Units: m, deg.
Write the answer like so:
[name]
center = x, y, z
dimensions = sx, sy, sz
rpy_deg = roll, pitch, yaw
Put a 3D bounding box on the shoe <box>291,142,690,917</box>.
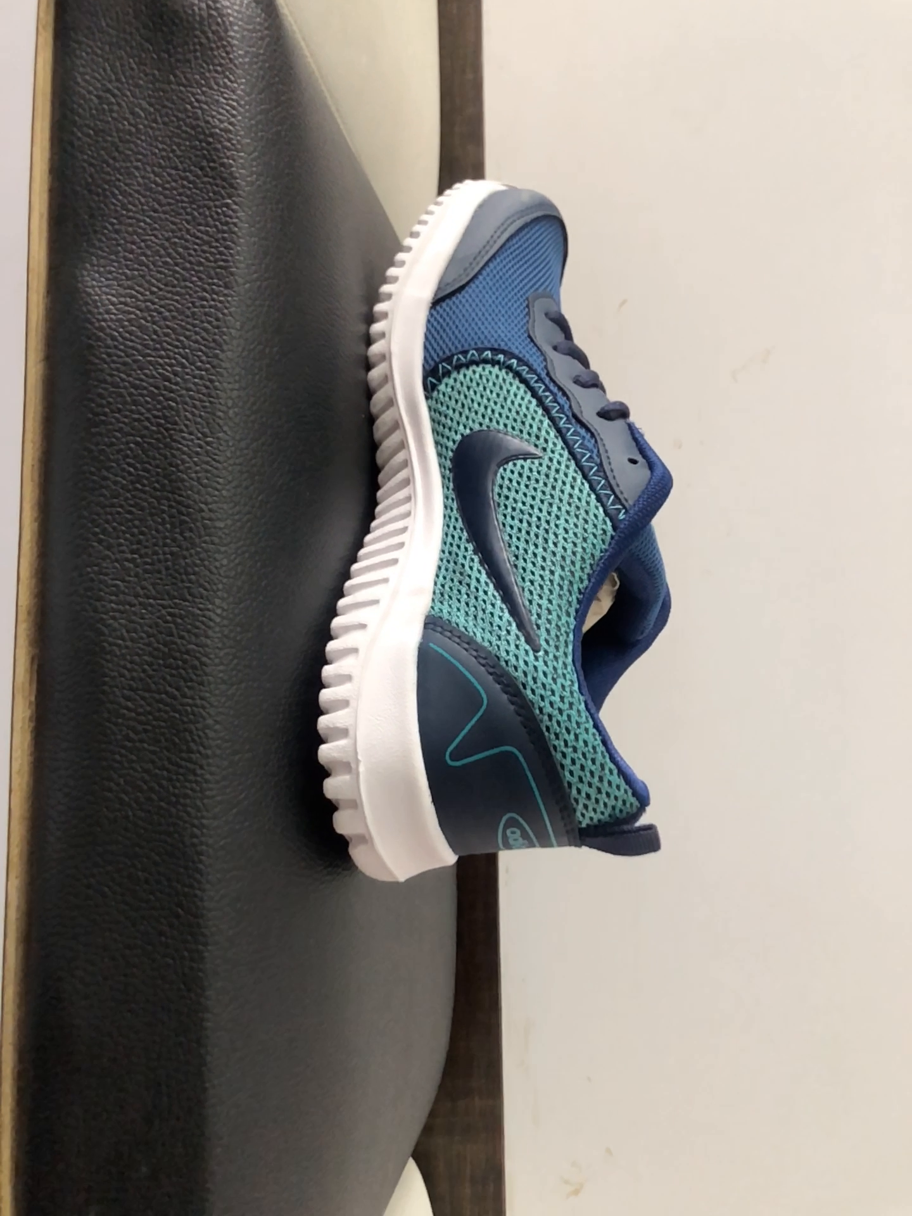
[shoe]
center = 0.024, -0.035, 0.378
dimensions = 0.130, 0.100, 0.260
rpy_deg = 77, 14, -54
